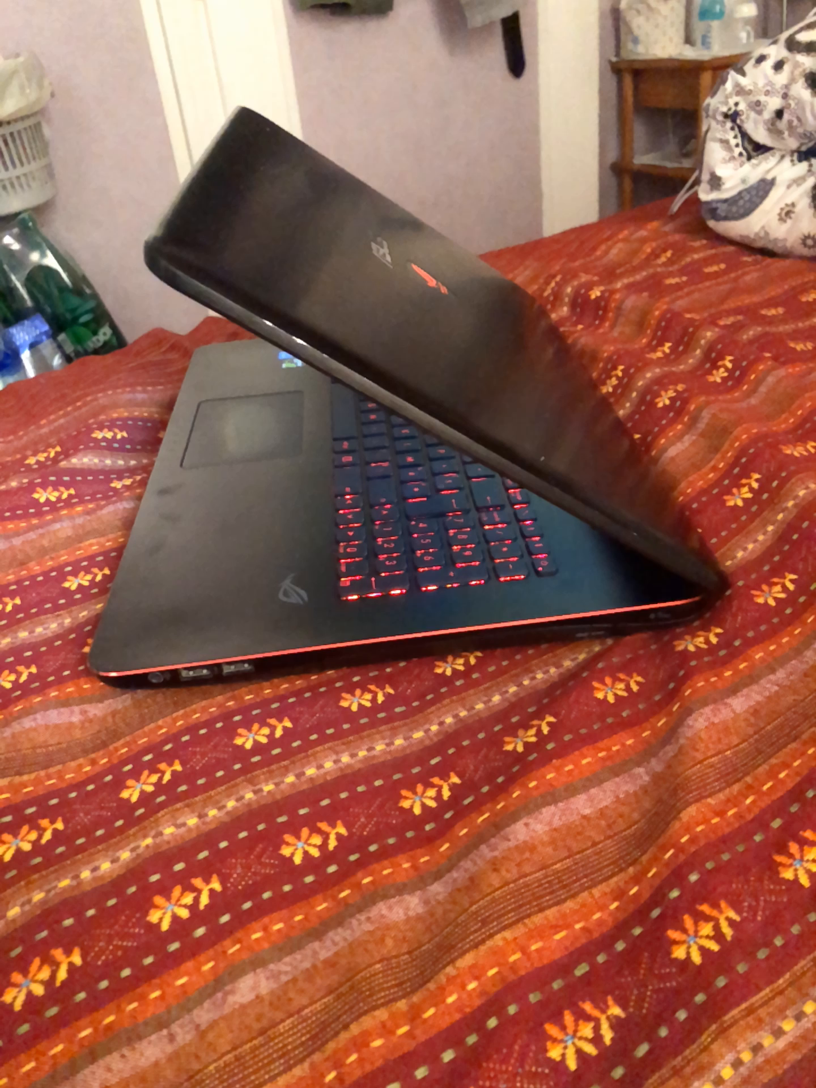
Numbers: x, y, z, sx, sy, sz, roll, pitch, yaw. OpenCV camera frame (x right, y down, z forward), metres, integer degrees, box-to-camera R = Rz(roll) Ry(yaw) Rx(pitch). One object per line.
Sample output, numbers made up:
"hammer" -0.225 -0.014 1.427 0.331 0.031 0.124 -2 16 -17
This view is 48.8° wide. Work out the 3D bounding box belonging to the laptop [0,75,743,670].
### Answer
"laptop" -0.027 -0.140 0.511 0.267 0.168 0.401 -7 32 -1
